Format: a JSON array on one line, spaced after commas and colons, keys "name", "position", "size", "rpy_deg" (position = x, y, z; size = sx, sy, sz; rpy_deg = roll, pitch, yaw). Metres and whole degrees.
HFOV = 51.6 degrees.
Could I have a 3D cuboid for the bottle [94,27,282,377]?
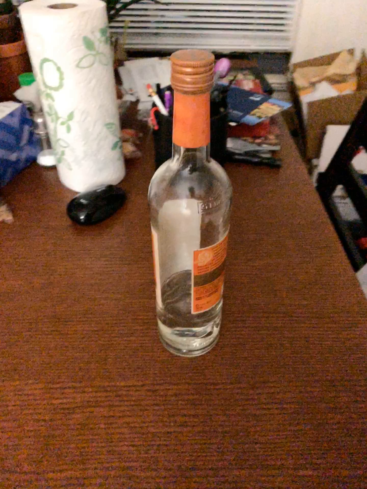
[{"name": "bottle", "position": [0.004, -0.013, 0.342], "size": [0.080, 0.298, 0.090], "rpy_deg": [32, 51, 30]}]
